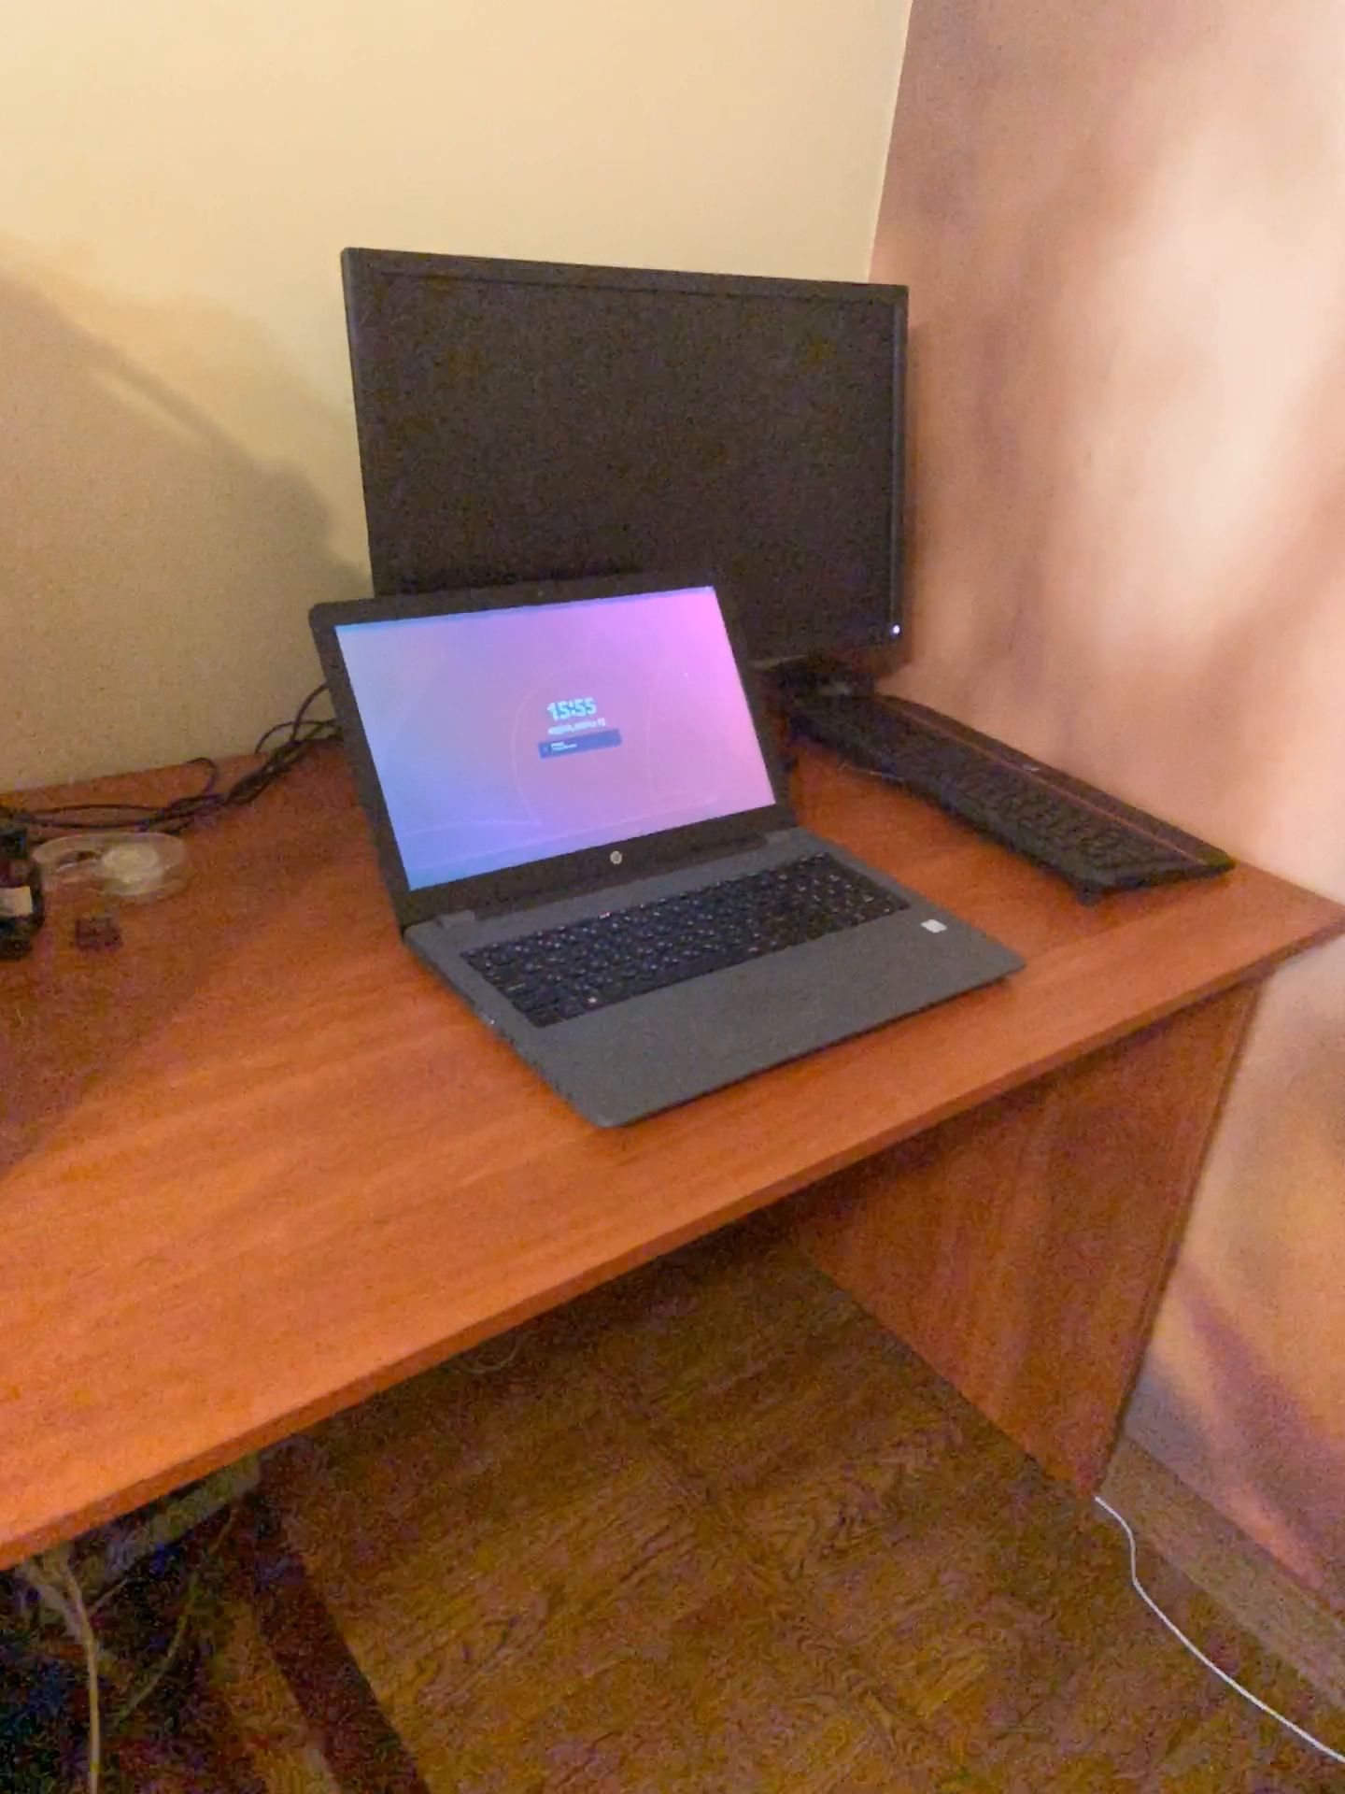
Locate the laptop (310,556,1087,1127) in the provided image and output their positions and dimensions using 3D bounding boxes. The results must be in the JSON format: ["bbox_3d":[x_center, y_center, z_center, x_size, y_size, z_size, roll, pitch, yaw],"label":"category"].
[{"bbox_3d":[0.003,-0.078,0.943,0.367,0.181,0.375,-15,36,-36],"label":"laptop"}]
